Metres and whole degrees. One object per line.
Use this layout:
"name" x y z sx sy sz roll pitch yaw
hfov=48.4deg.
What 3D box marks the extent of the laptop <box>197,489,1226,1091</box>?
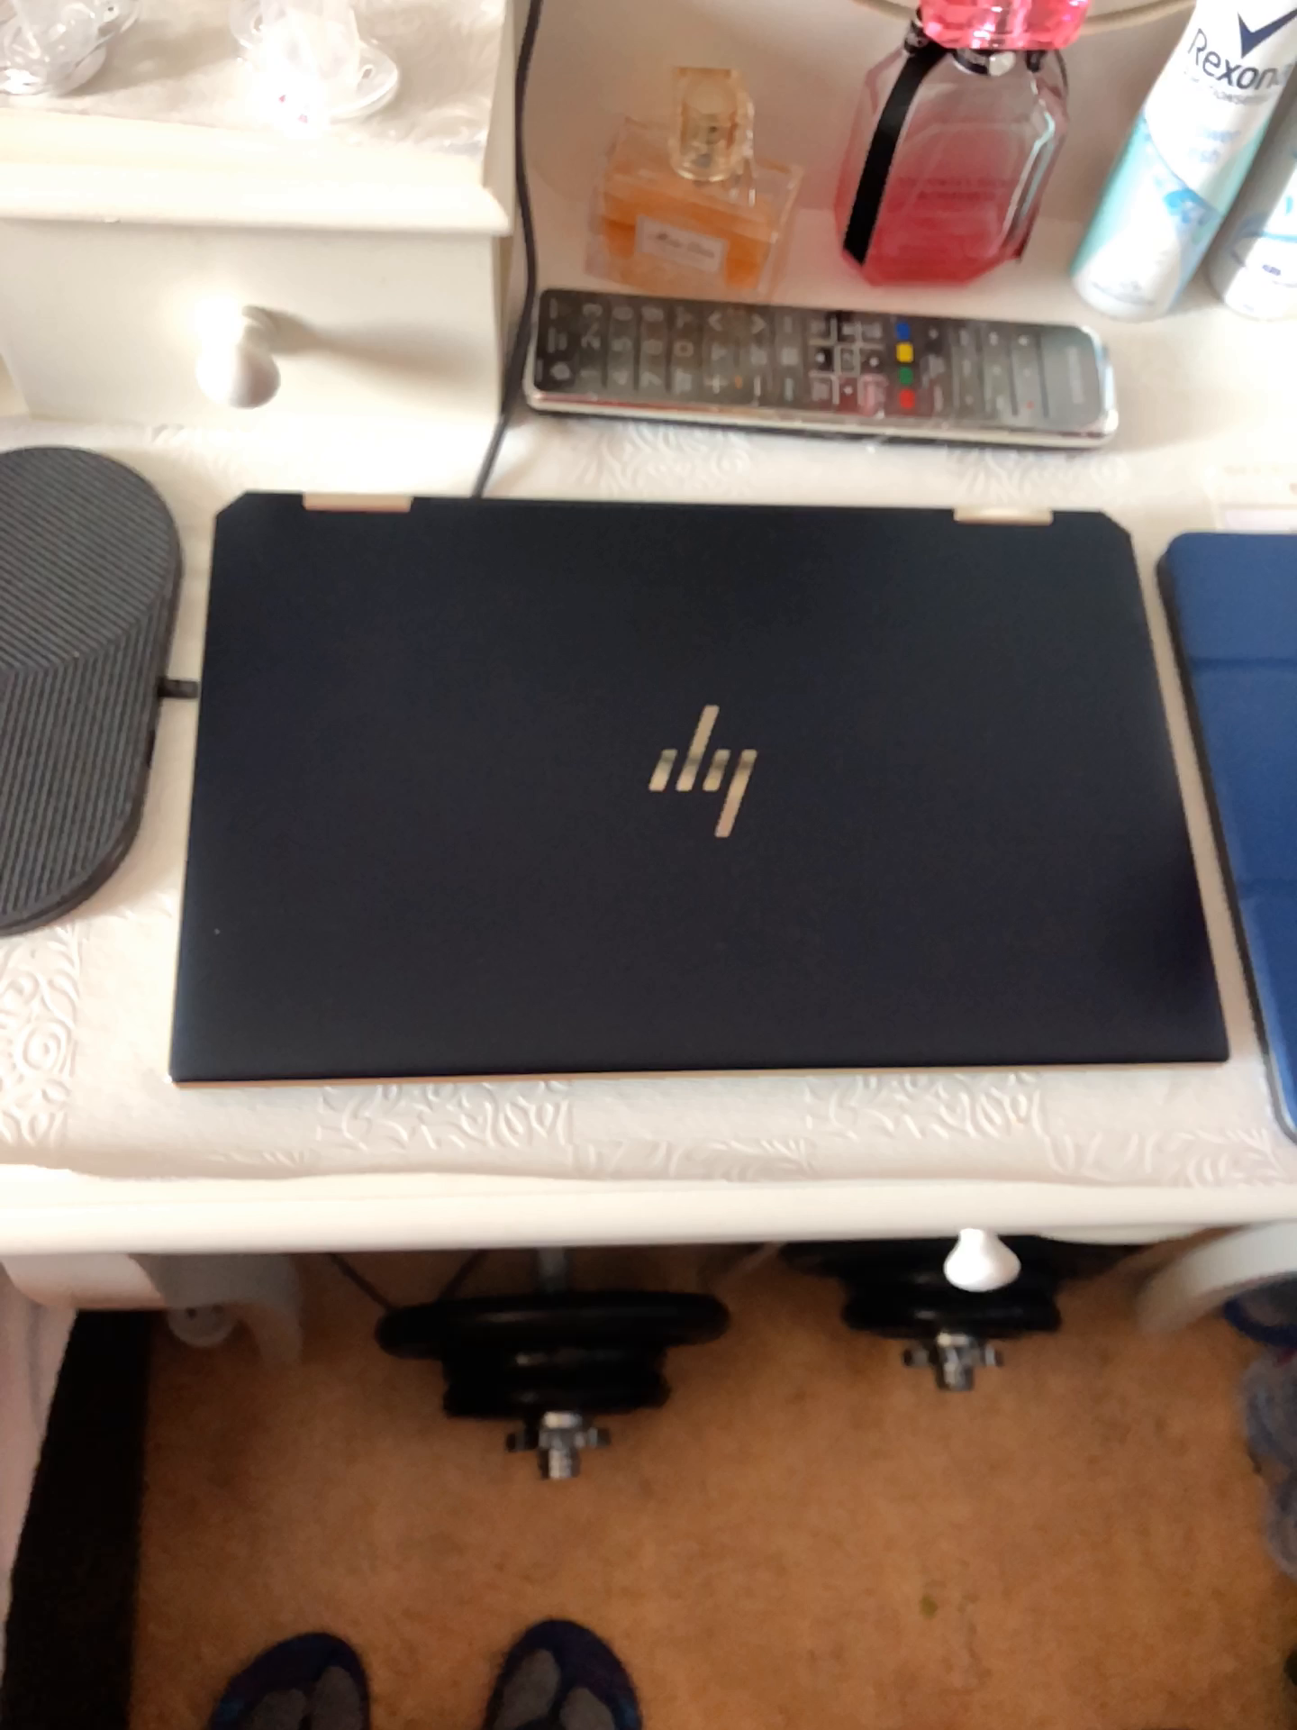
"laptop" 0.021 -0.024 0.393 0.267 0.007 0.161 0 71 -12
